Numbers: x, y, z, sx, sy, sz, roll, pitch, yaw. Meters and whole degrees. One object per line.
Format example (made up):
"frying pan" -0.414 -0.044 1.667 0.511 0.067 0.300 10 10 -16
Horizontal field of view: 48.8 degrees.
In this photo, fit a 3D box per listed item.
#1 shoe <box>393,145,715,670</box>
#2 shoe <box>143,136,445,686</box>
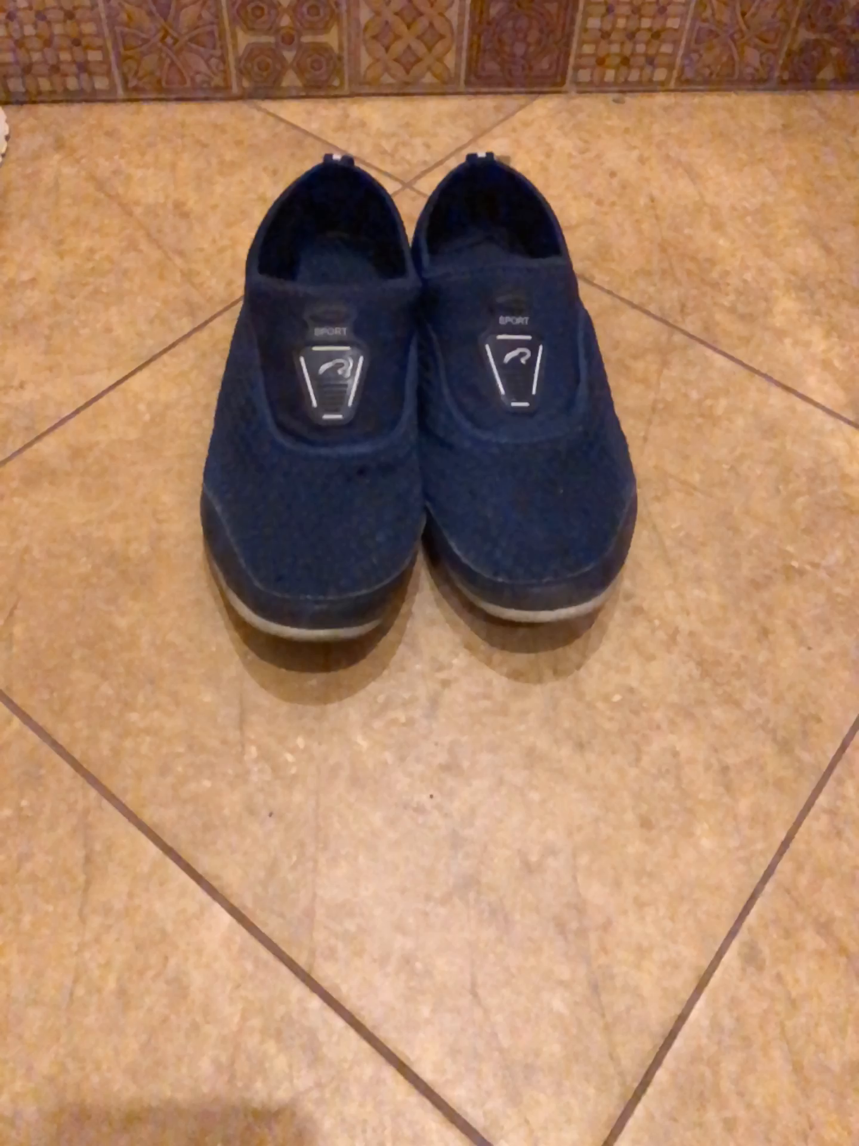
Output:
"shoe" 0.045 -0.099 0.479 0.110 0.070 0.291 -2 57 -5
"shoe" -0.055 -0.092 0.457 0.110 0.070 0.291 0 56 -3
